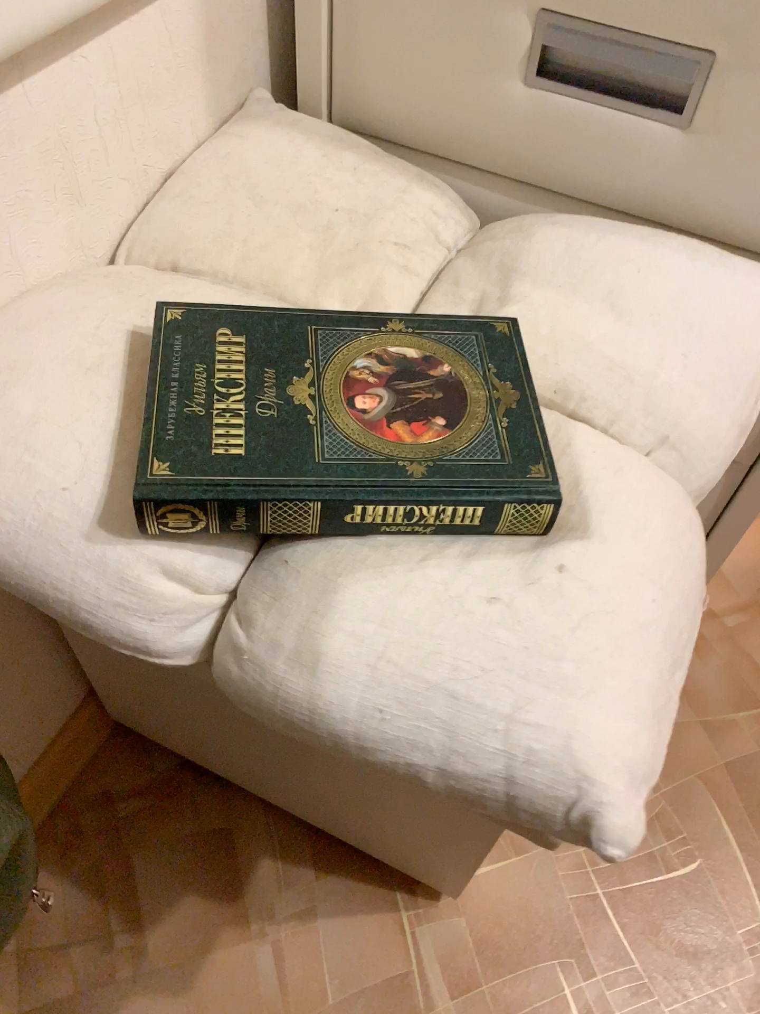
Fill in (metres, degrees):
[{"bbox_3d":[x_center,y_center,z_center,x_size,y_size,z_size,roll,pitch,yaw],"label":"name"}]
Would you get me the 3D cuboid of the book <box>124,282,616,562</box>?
[{"bbox_3d":[-0.008,-0.047,0.405,0.220,0.040,0.151,0,54,-9],"label":"book"}]
